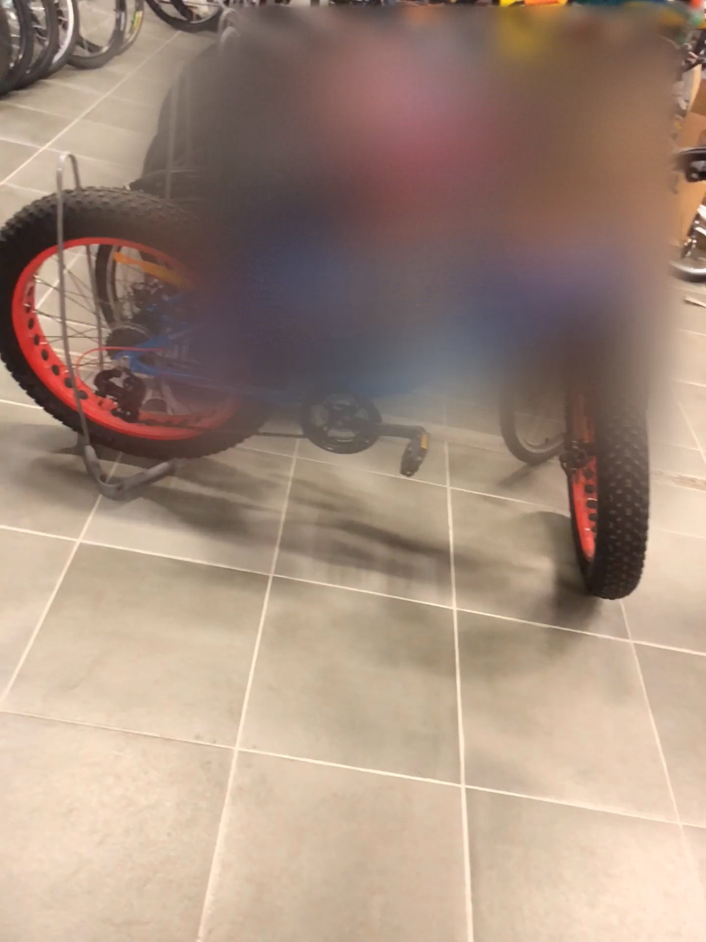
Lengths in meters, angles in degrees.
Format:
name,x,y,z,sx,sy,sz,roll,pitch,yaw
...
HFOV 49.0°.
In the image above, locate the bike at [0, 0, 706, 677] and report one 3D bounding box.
name,x,y,z,sx,sy,sz,roll,pitch,yaw
bike,-0.043,-0.280,1.559,1.467,1.023,0.617,11,38,-5
